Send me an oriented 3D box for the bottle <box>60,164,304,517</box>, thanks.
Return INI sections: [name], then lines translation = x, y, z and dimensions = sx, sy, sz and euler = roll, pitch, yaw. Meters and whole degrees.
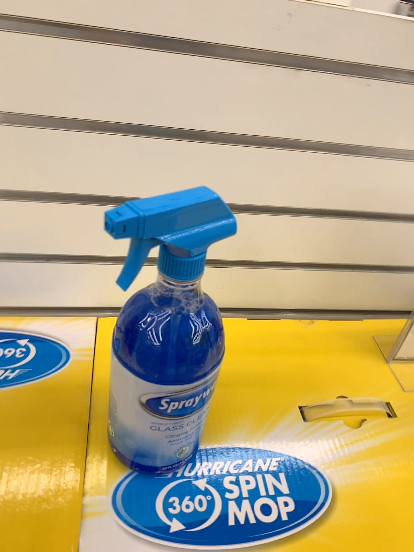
[bottle]
translation = -0.032, 0.054, 0.313
dimensions = 0.110, 0.239, 0.090
euler = -14, 43, -29
